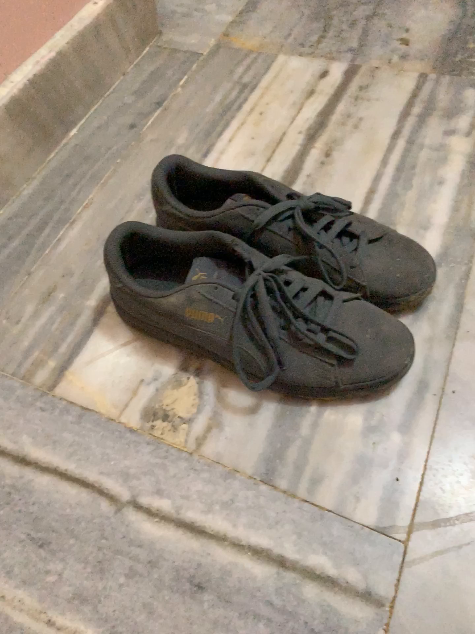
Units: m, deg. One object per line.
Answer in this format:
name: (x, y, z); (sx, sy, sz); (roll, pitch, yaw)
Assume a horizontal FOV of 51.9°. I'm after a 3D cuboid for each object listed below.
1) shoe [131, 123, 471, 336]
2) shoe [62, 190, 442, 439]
shoe: (0.057, -0.095, 0.491); (0.291, 0.100, 0.110); (18, 61, 18)
shoe: (0.009, -0.010, 0.438); (0.291, 0.100, 0.110); (18, 61, 18)
